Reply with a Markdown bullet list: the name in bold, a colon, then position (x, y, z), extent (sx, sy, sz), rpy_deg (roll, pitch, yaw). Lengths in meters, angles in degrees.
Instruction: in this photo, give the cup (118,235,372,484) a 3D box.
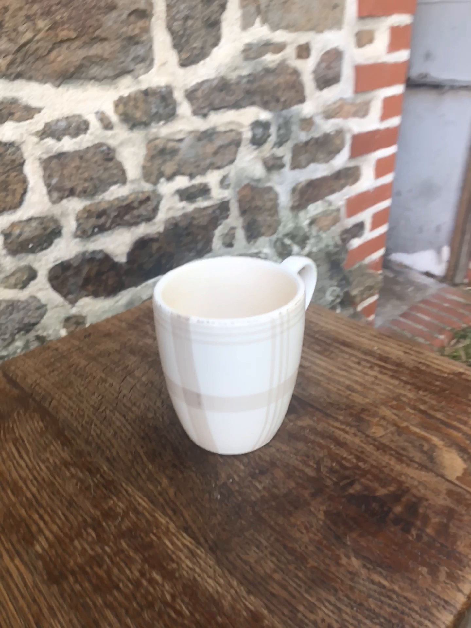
- **cup**: position (0.011, 0.016, 0.315), extent (0.087, 0.078, 0.125), rpy_deg (20, 36, 34)
